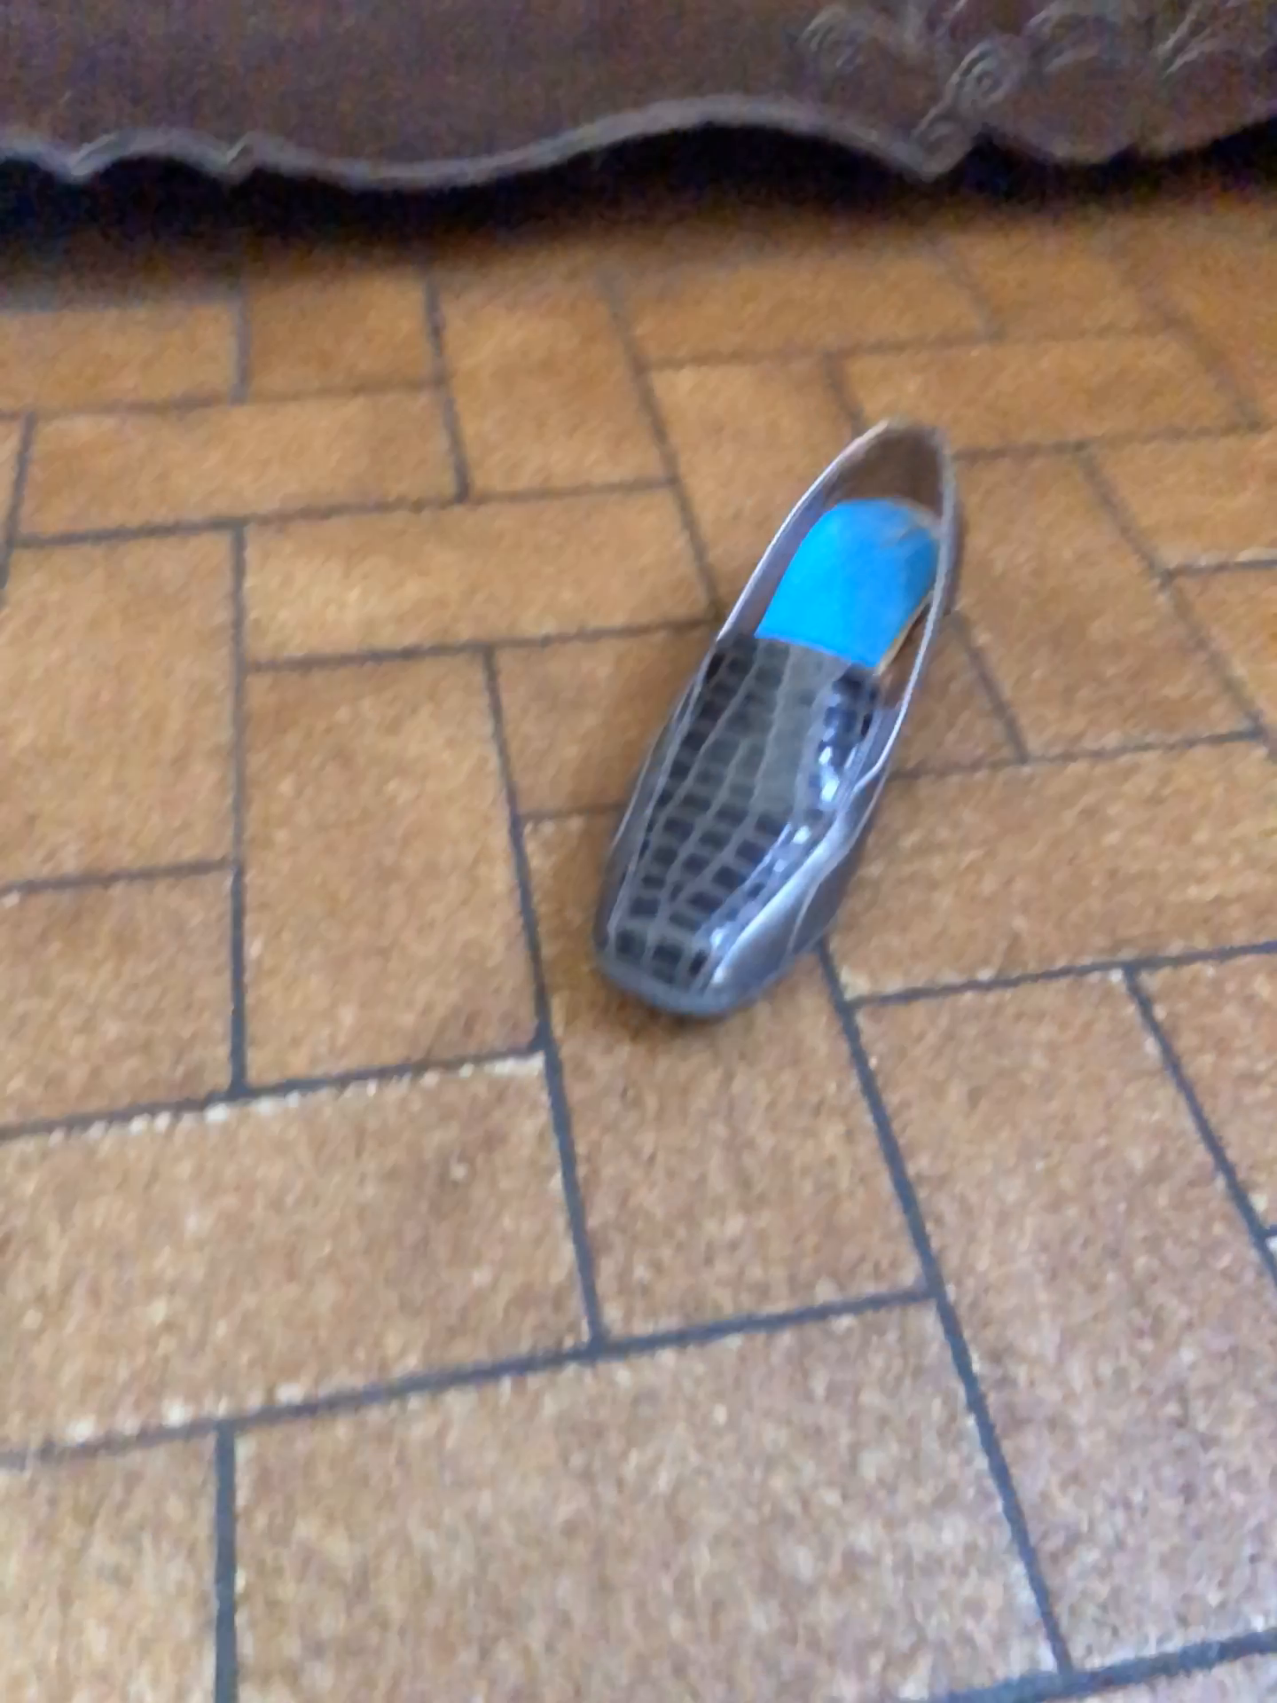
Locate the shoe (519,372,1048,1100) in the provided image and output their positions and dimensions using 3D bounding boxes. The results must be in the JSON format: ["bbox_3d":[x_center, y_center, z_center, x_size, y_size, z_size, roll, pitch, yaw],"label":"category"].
[{"bbox_3d":[0.059,-0.055,0.498,0.090,0.090,0.261,20,51,14],"label":"shoe"}]
